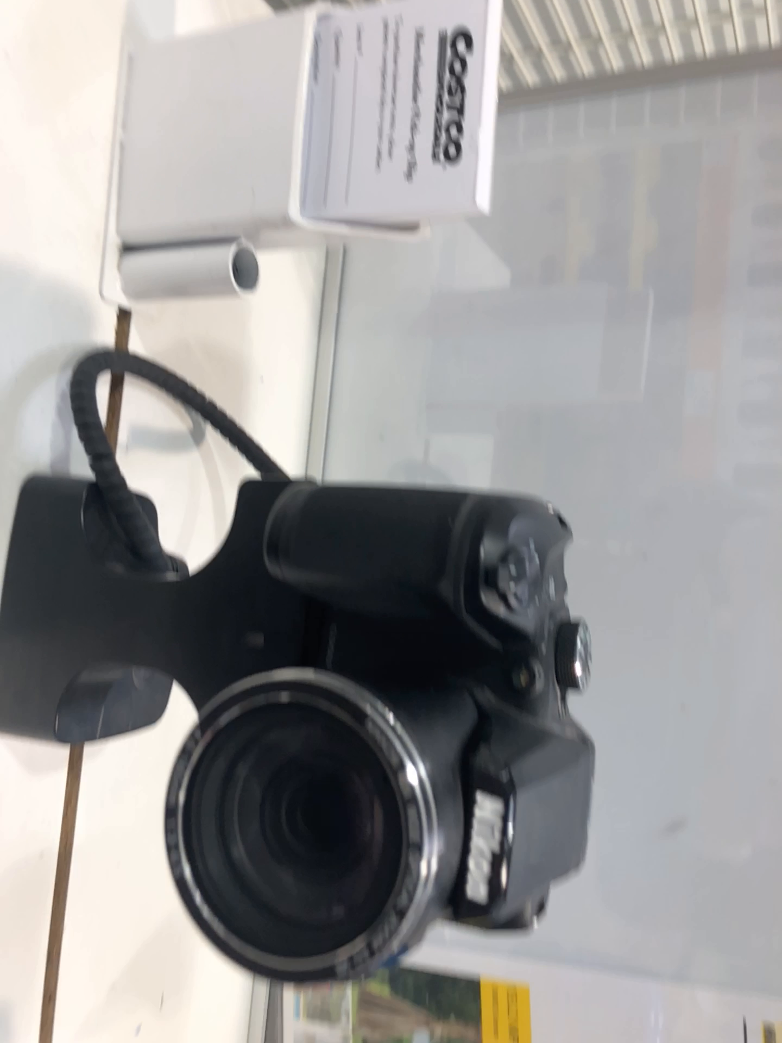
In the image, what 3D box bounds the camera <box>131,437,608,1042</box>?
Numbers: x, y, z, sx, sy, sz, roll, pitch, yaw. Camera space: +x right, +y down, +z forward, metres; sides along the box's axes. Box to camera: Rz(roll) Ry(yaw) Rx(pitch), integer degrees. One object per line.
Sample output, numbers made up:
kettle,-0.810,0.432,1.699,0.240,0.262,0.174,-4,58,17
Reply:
camera,0.003,0.043,0.226,0.101,0.079,0.116,7,86,-65
